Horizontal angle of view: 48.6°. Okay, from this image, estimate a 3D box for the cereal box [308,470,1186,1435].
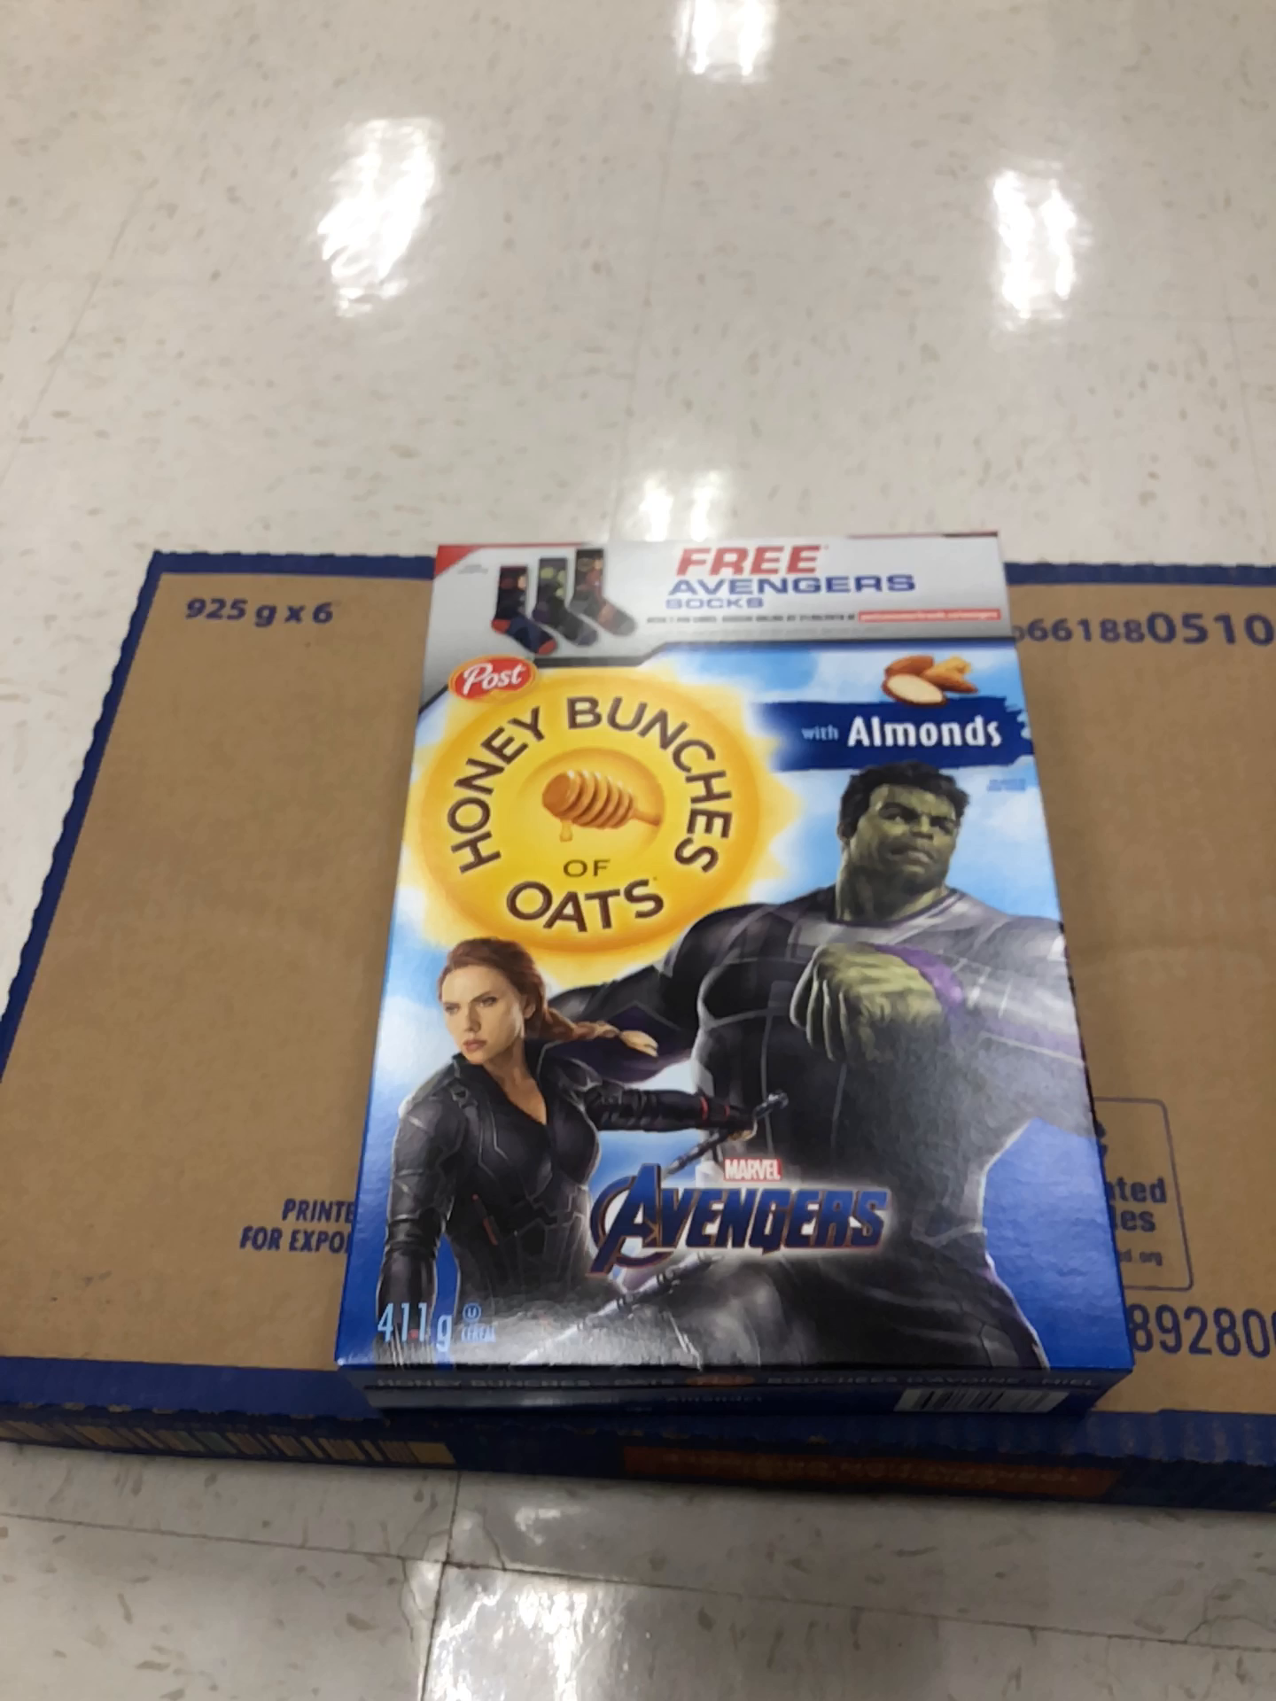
[{"bbox_3d":[0.027,0.015,0.429,0.200,0.070,0.291,-1,58,2],"label":"cereal box"}]
